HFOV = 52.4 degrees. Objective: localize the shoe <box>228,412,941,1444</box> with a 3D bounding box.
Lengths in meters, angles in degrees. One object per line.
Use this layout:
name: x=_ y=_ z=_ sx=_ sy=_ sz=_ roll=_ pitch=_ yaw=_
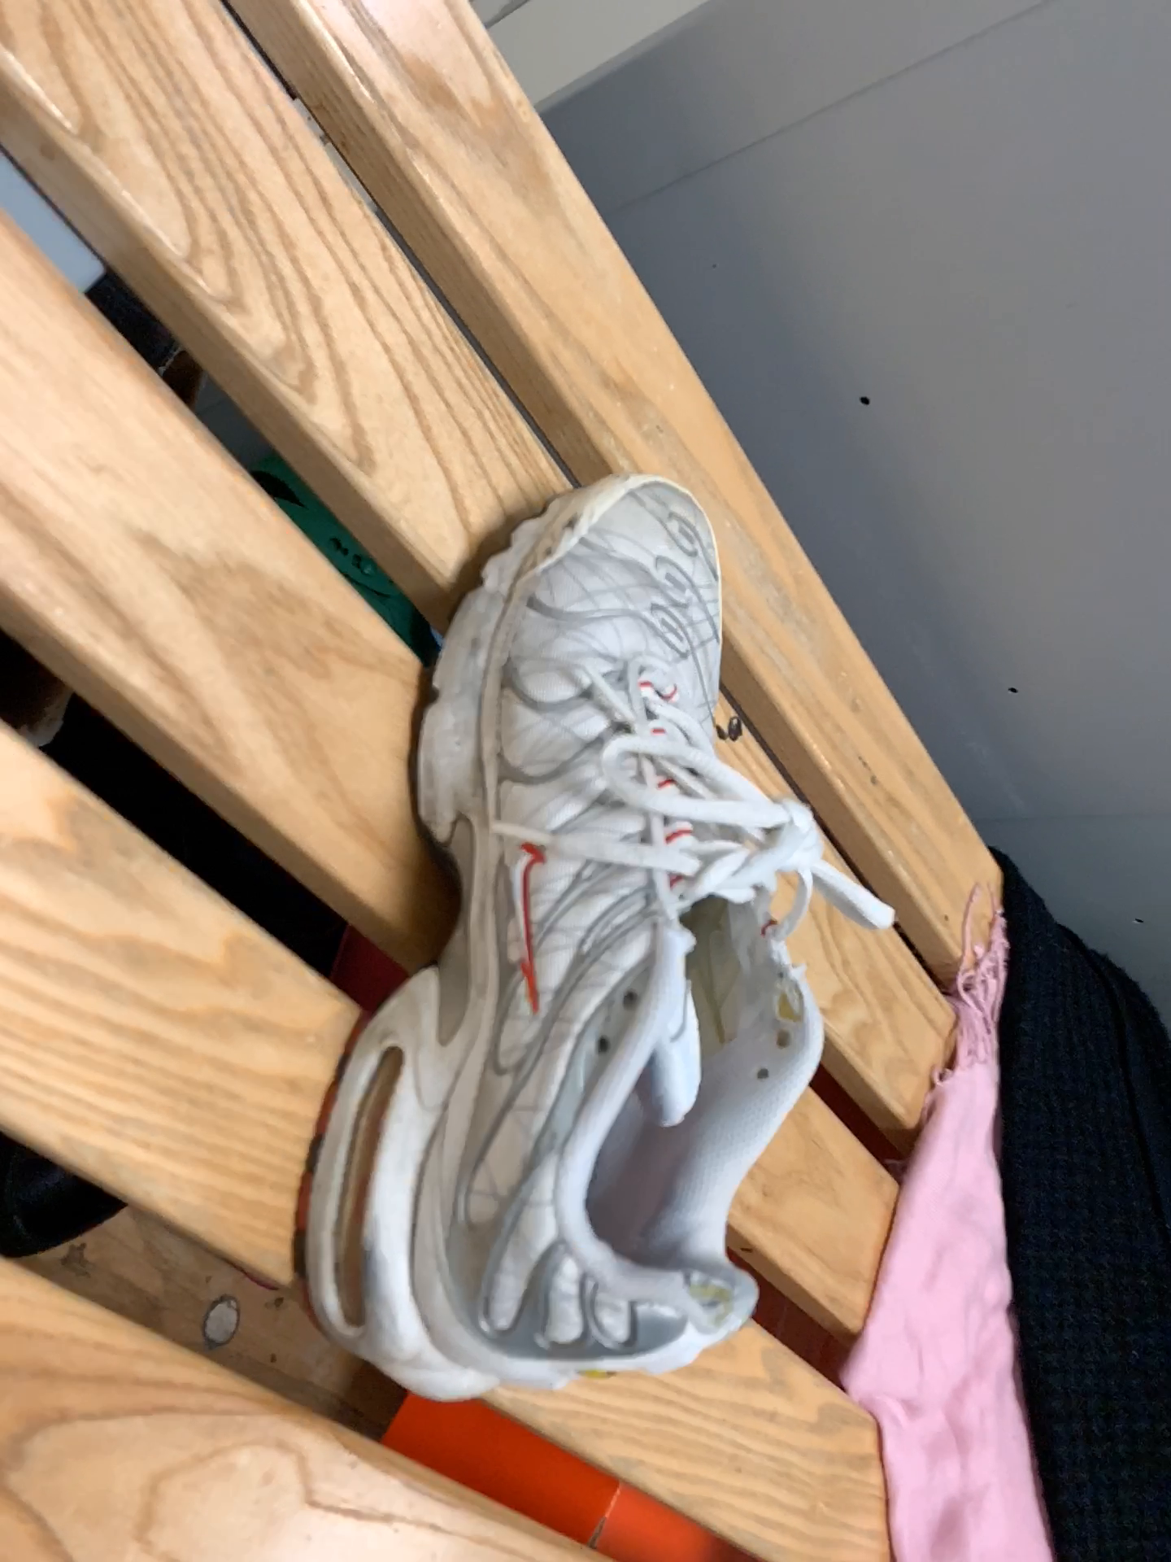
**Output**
shoe: x=0.011 y=0.037 z=0.321 sx=0.101 sy=0.105 sz=0.227 roll=33 pitch=63 yaw=-42
